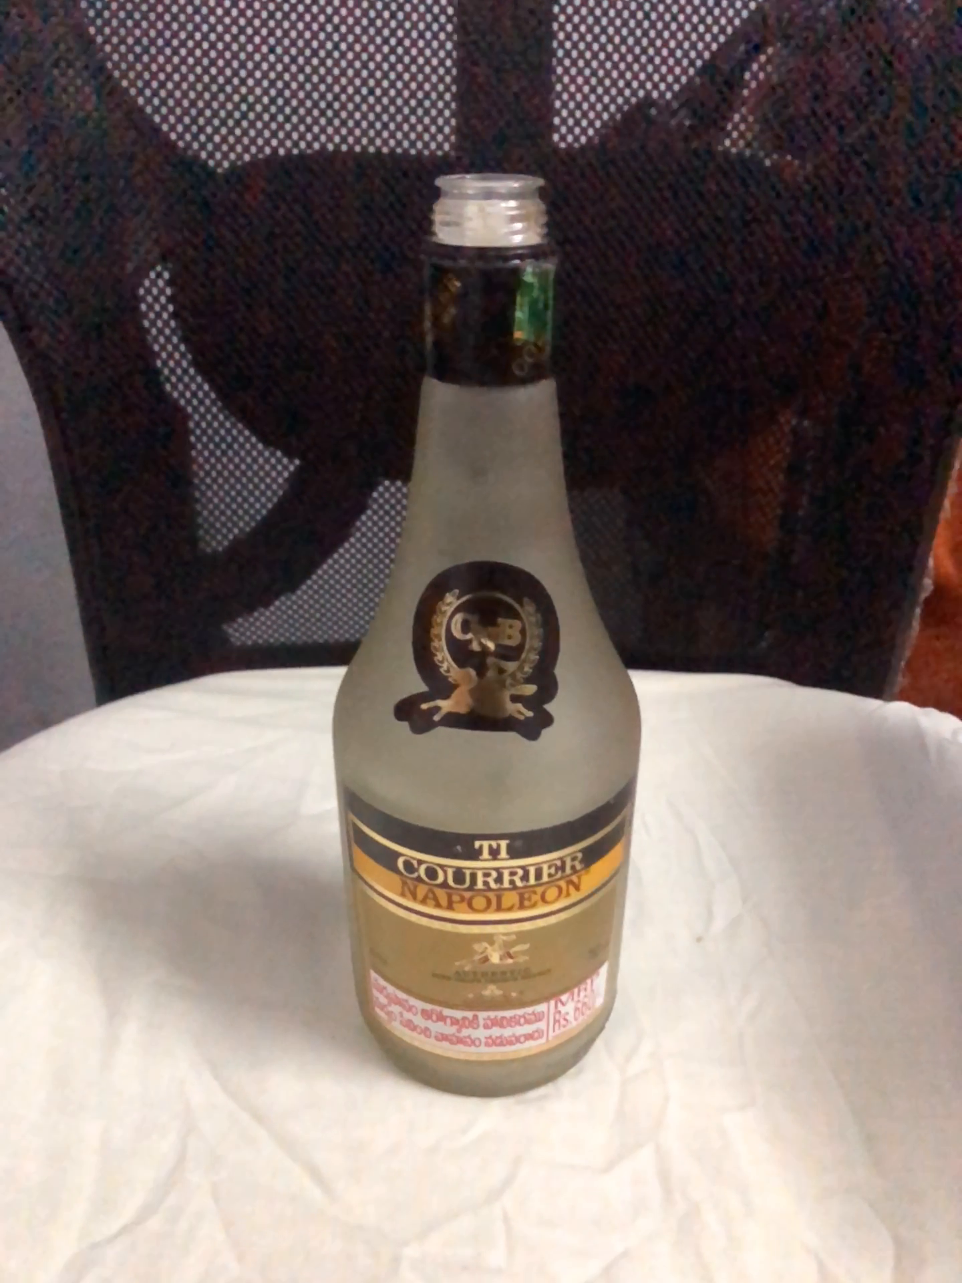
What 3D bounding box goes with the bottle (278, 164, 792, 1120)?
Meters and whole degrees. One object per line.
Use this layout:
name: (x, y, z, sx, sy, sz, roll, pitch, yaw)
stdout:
bottle: (0.005, 0.011, 0.279, 0.090, 0.239, 0.080, 1, 29, -2)
